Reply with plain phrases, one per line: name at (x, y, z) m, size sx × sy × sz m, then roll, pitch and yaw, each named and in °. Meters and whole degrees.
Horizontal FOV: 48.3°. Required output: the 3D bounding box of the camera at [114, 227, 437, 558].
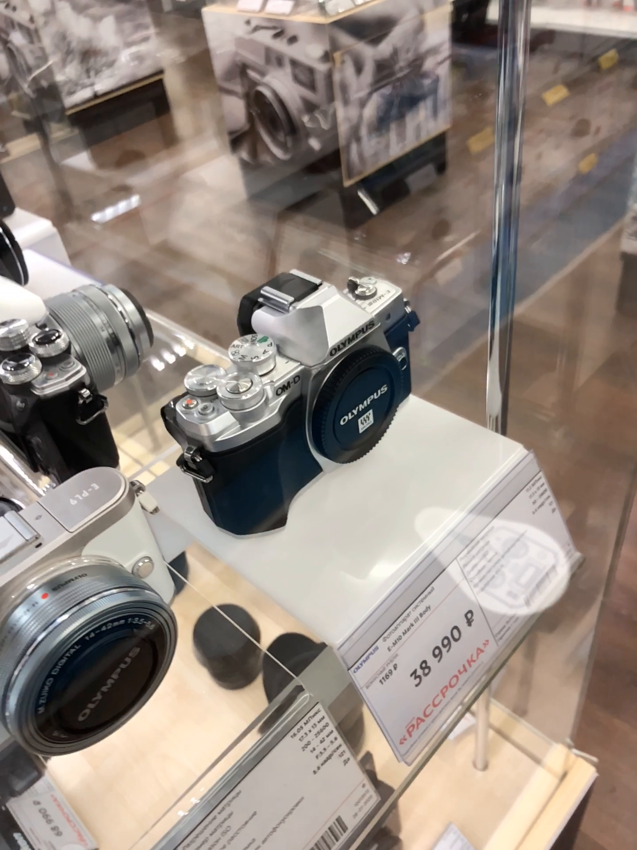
camera at (-0.011, -0.020, 0.314) m, size 0.064 × 0.077 × 0.122 m, roll 28°, pitch 53°, yaw 35°

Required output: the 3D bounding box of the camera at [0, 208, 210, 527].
camera at (-0.147, -0.038, 0.363) m, size 0.136 × 0.084 × 0.102 m, roll 25°, pitch 52°, yaw 33°

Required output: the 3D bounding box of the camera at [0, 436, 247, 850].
camera at (-0.099, 0.077, 0.242) m, size 0.068 × 0.068 × 0.125 m, roll 29°, pitch 54°, yaw 36°
